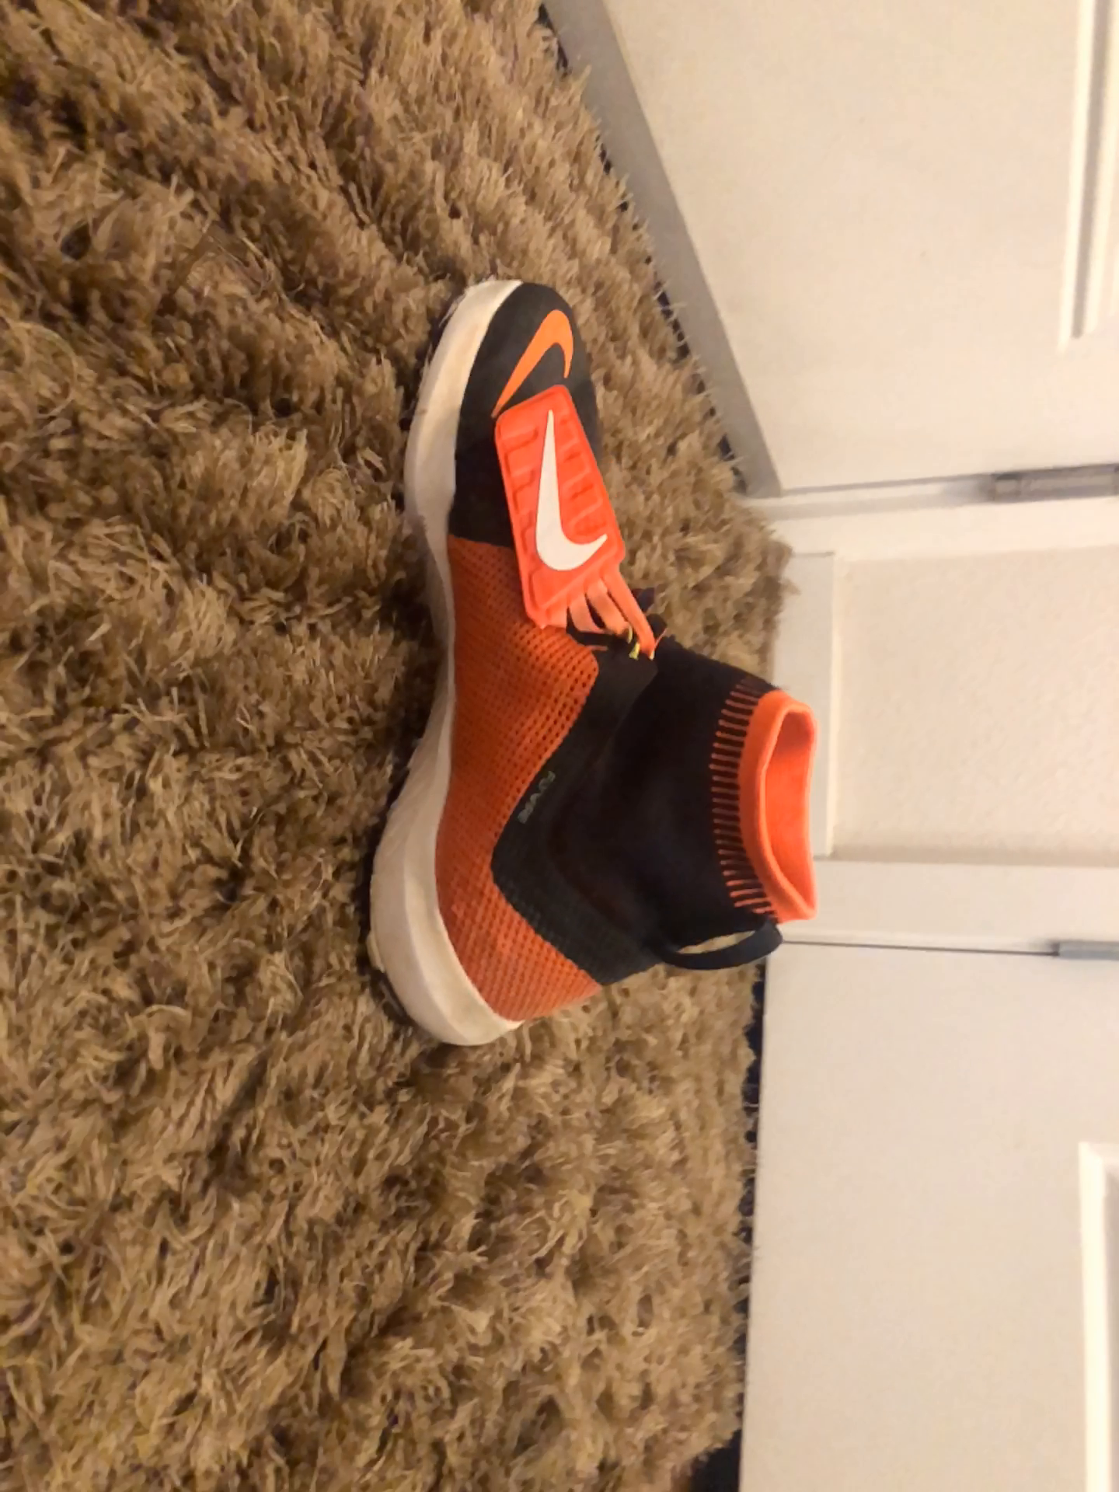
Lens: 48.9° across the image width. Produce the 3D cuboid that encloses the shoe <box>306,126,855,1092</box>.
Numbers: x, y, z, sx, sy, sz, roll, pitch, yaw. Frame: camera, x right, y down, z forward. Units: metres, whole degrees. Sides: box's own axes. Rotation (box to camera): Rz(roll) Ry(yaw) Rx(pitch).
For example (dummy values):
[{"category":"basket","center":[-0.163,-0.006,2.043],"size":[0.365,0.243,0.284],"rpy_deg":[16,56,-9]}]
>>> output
[{"category":"shoe","center":[0.024,-0.044,0.434],"size":[0.111,0.139,0.303],"rpy_deg":[46,46,-62]}]
